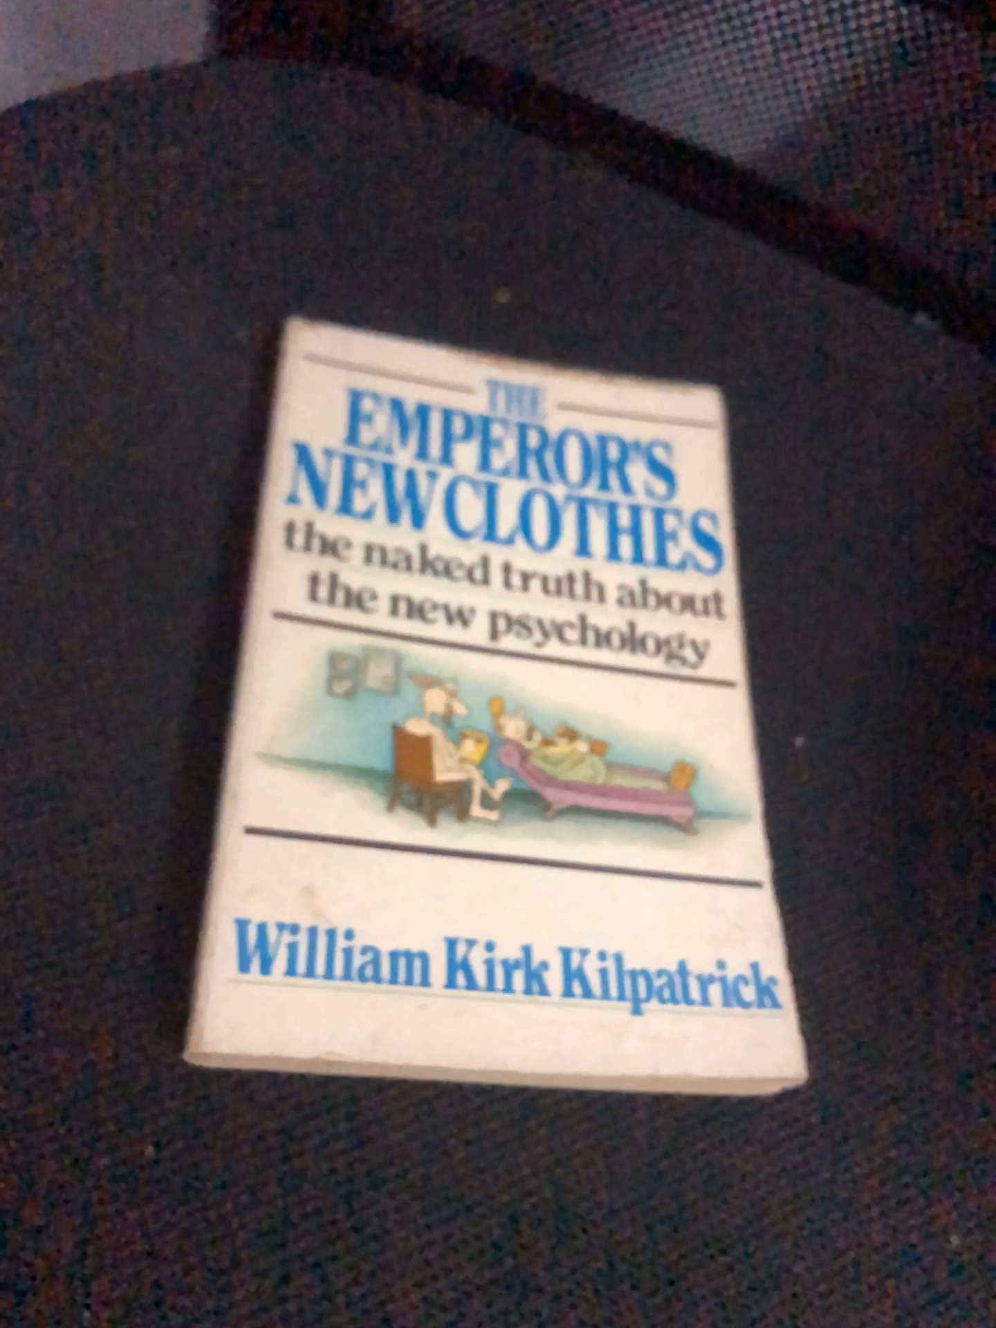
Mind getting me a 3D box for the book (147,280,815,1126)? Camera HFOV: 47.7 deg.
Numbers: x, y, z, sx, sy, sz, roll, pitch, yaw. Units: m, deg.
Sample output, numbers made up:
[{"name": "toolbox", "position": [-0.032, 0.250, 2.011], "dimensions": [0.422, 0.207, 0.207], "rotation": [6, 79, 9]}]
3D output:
[{"name": "book", "position": [0.000, -0.003, 0.305], "dimensions": [0.145, 0.020, 0.230], "rotation": [9, 57, -13]}]
